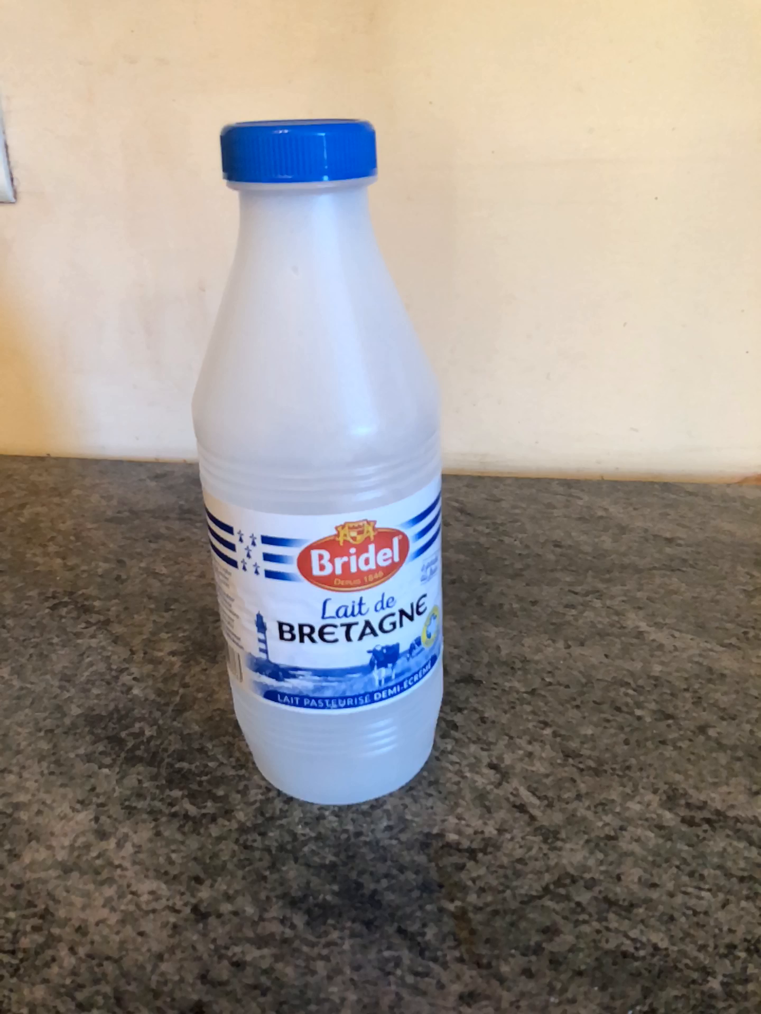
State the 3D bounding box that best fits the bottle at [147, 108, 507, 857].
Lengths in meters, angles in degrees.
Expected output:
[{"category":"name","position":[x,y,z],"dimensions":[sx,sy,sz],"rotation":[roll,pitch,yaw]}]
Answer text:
[{"category":"bottle","position":[-0.018,-0.008,0.296],"dimensions":[0.090,0.239,0.090],"rotation":[-1,24,1]}]
